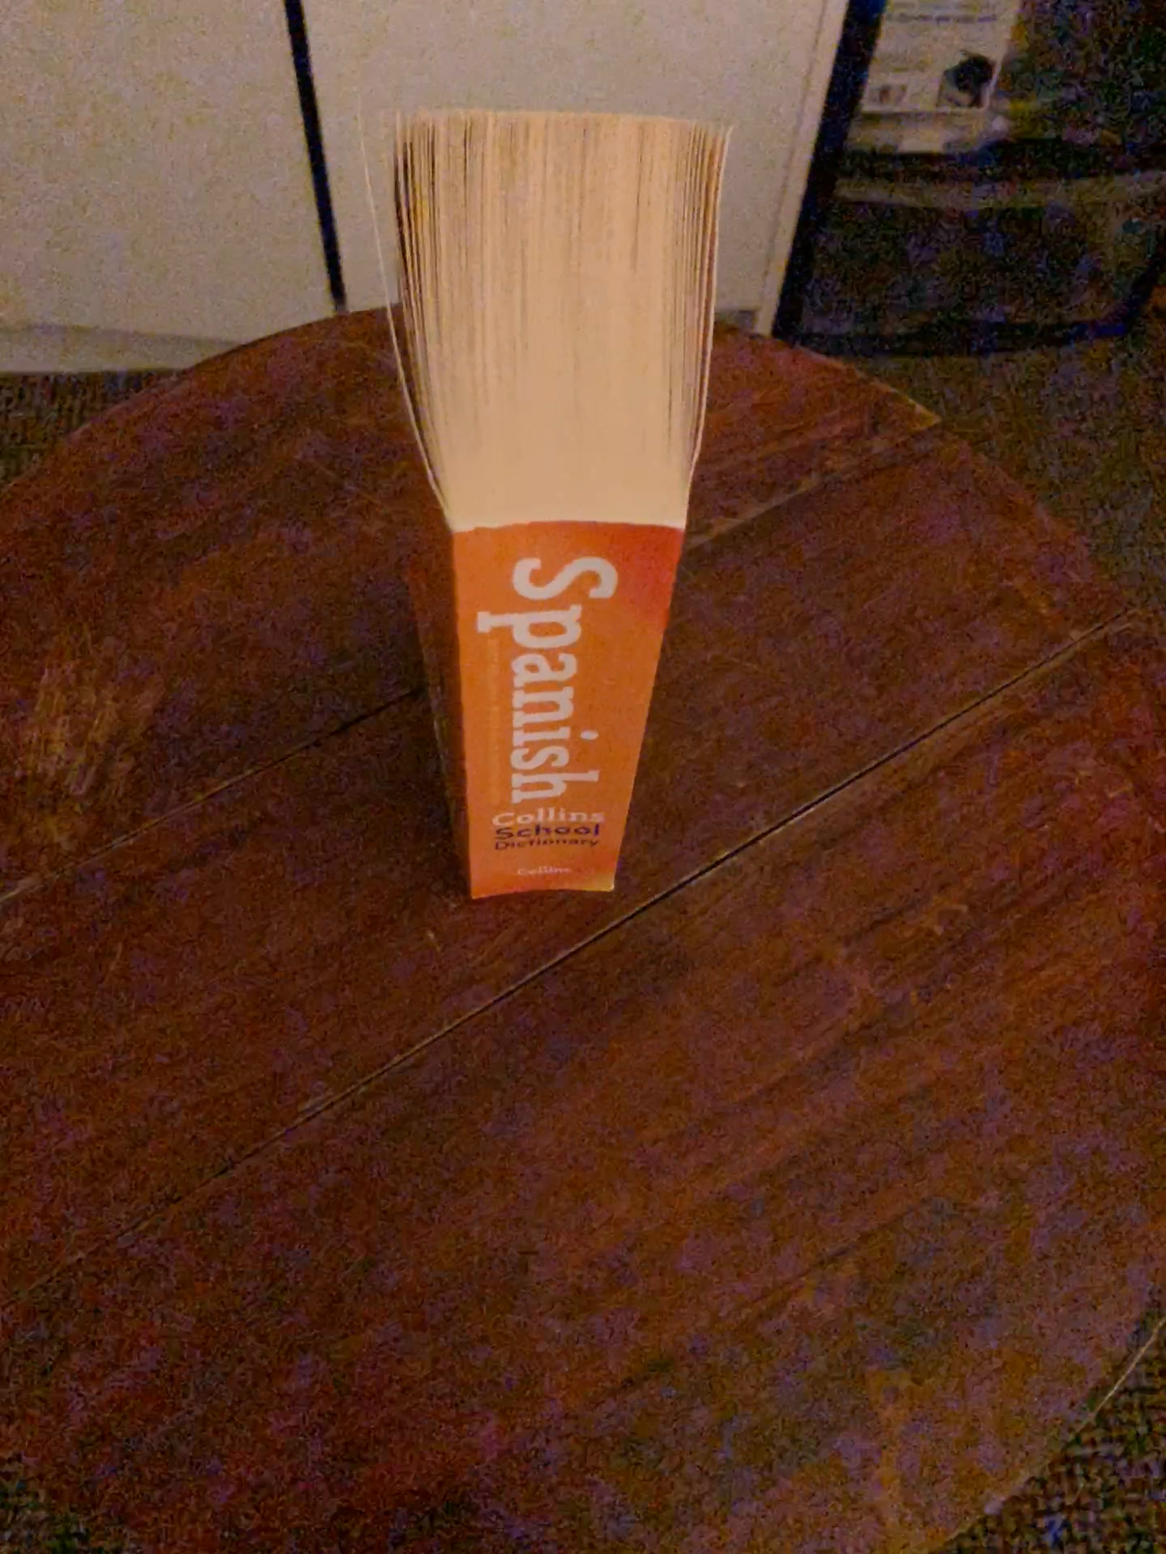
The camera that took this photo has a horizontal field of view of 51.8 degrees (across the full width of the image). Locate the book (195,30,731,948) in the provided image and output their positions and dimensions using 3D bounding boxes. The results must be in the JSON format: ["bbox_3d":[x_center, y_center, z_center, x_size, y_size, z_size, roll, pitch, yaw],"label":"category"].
[{"bbox_3d":[-0.007,-0.052,0.278,0.080,0.149,0.141,0,64,8],"label":"book"}]
